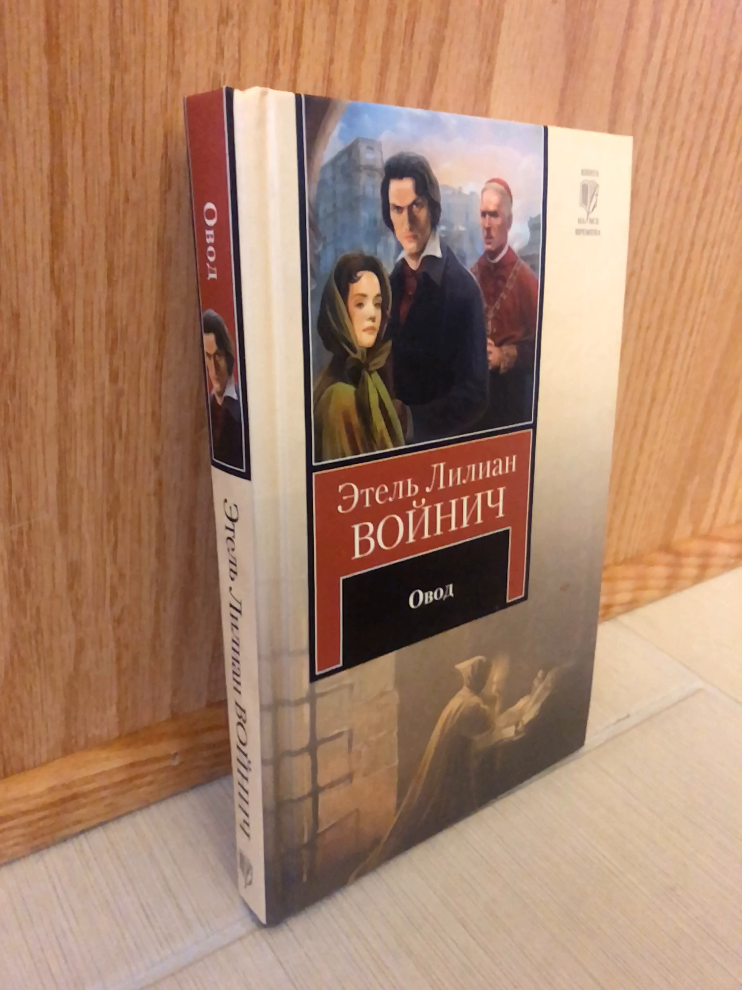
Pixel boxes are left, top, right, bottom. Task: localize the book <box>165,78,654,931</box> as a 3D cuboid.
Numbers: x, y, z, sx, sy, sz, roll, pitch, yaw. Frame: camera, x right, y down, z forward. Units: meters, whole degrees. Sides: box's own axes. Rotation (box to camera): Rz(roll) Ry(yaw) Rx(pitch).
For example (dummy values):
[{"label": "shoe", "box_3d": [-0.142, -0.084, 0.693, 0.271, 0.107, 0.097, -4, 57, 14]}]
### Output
[{"label": "book", "box_3d": [0.019, 0.000, 0.242, 0.140, 0.203, 0.030, -13, 20, -36]}]
